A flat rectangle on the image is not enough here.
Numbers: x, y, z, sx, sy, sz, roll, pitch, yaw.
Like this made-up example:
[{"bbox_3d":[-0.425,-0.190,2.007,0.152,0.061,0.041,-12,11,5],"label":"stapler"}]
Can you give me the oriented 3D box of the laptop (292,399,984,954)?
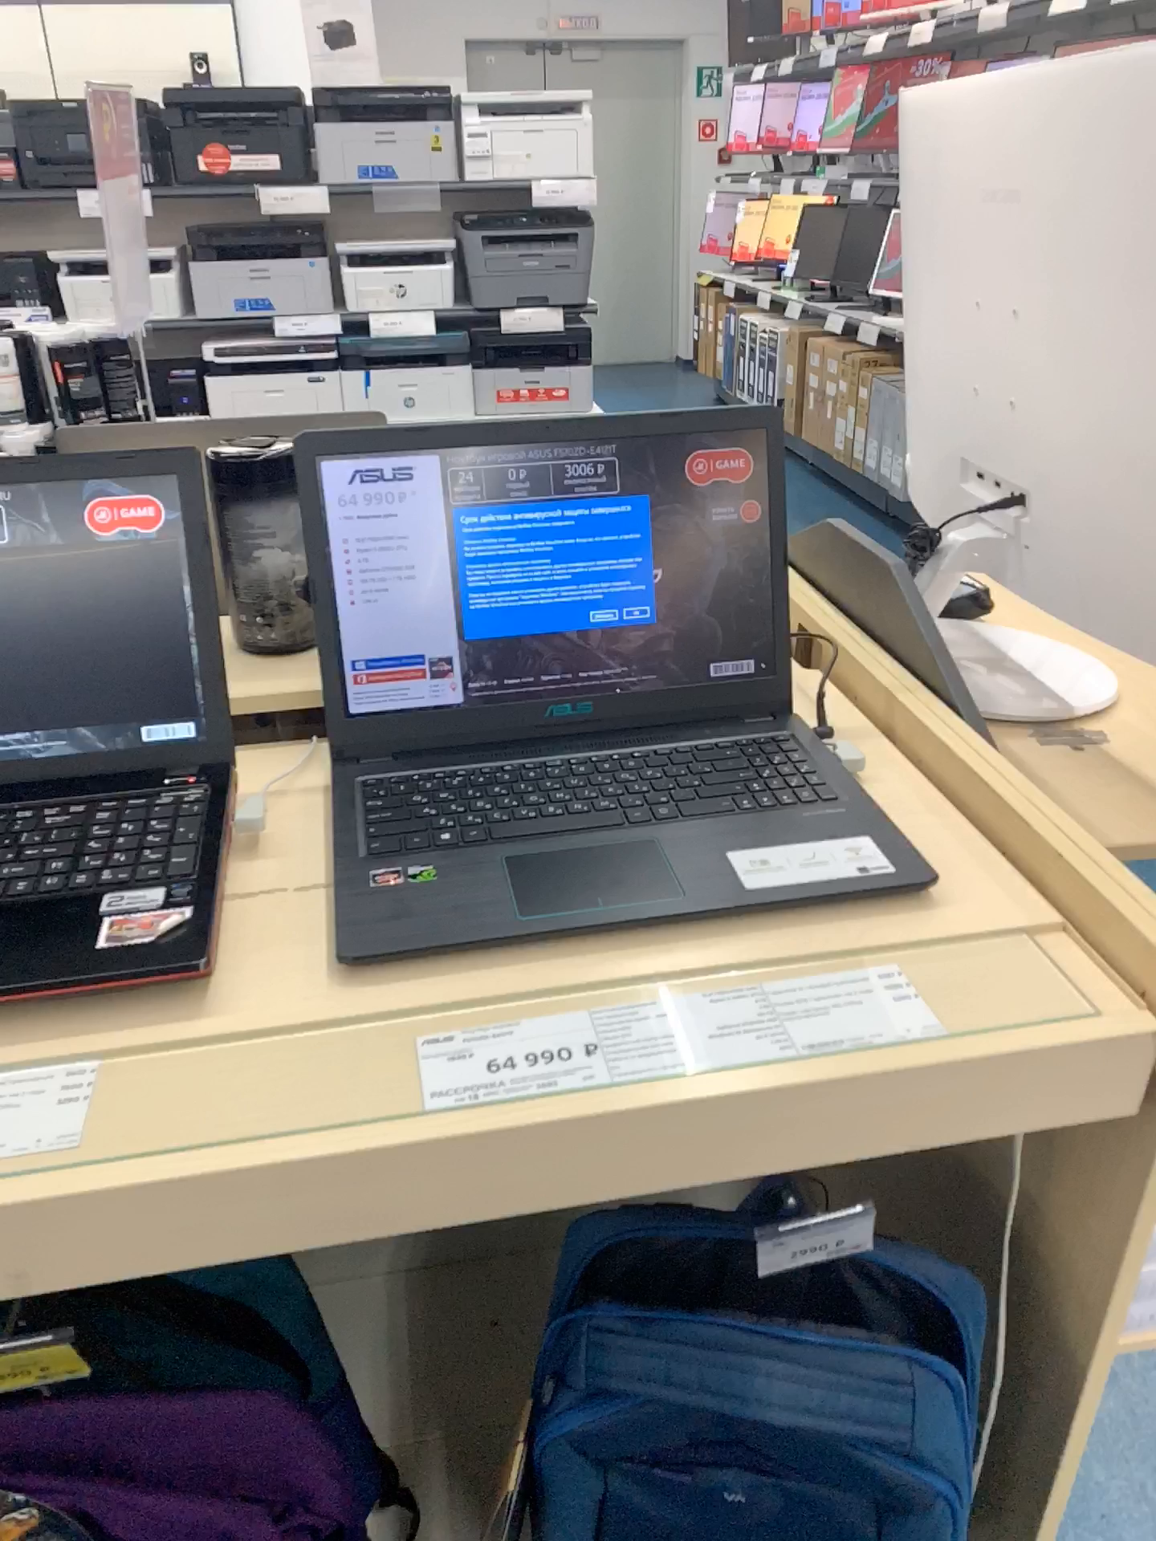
[{"bbox_3d":[0.008,-0.090,0.781,0.358,0.222,0.319,-6,28,-10],"label":"laptop"}]
